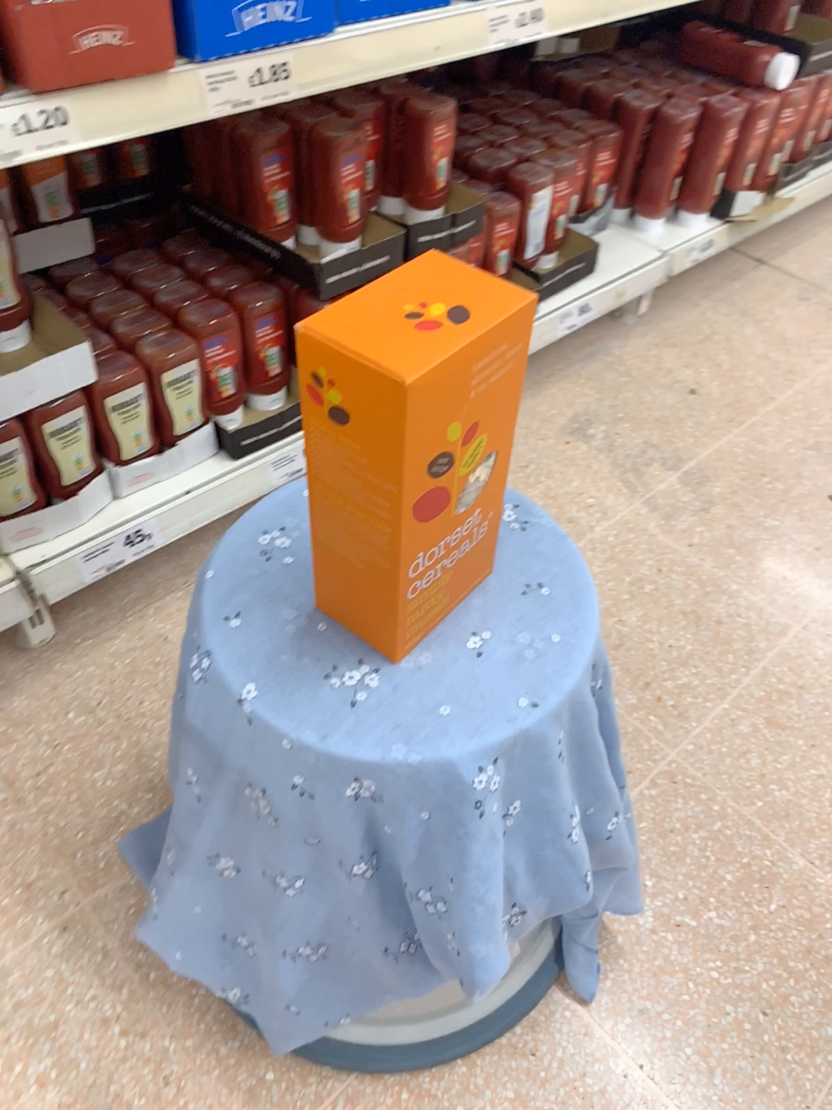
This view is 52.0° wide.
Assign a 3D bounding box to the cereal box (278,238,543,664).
[{"bbox_3d":[-0.006,-0.060,0.549,0.090,0.228,0.121,31,51,24],"label":"cereal box"}]
